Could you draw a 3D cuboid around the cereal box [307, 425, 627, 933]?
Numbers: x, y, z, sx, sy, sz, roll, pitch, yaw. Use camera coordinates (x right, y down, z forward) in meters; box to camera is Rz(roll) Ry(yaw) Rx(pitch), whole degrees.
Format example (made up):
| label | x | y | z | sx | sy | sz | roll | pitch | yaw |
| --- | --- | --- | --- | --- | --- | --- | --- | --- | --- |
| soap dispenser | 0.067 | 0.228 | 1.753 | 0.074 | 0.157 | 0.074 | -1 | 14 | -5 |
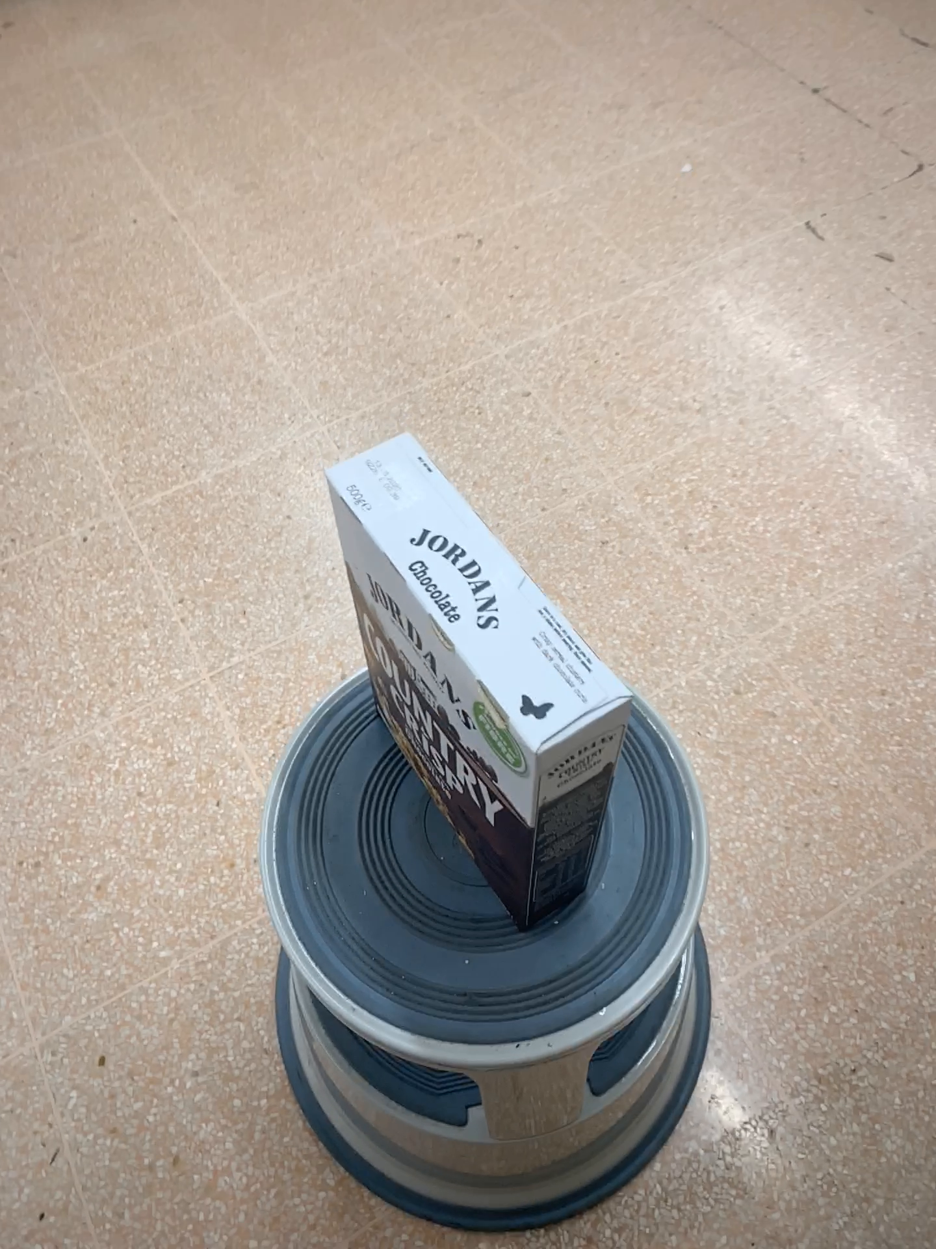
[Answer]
| label | x | y | z | sx | sy | sz | roll | pitch | yaw |
| --- | --- | --- | --- | --- | --- | --- | --- | --- | --- |
| cereal box | -0.001 | 0.044 | 0.522 | 0.050 | 0.248 | 0.181 | -29 | 61 | -15 |
